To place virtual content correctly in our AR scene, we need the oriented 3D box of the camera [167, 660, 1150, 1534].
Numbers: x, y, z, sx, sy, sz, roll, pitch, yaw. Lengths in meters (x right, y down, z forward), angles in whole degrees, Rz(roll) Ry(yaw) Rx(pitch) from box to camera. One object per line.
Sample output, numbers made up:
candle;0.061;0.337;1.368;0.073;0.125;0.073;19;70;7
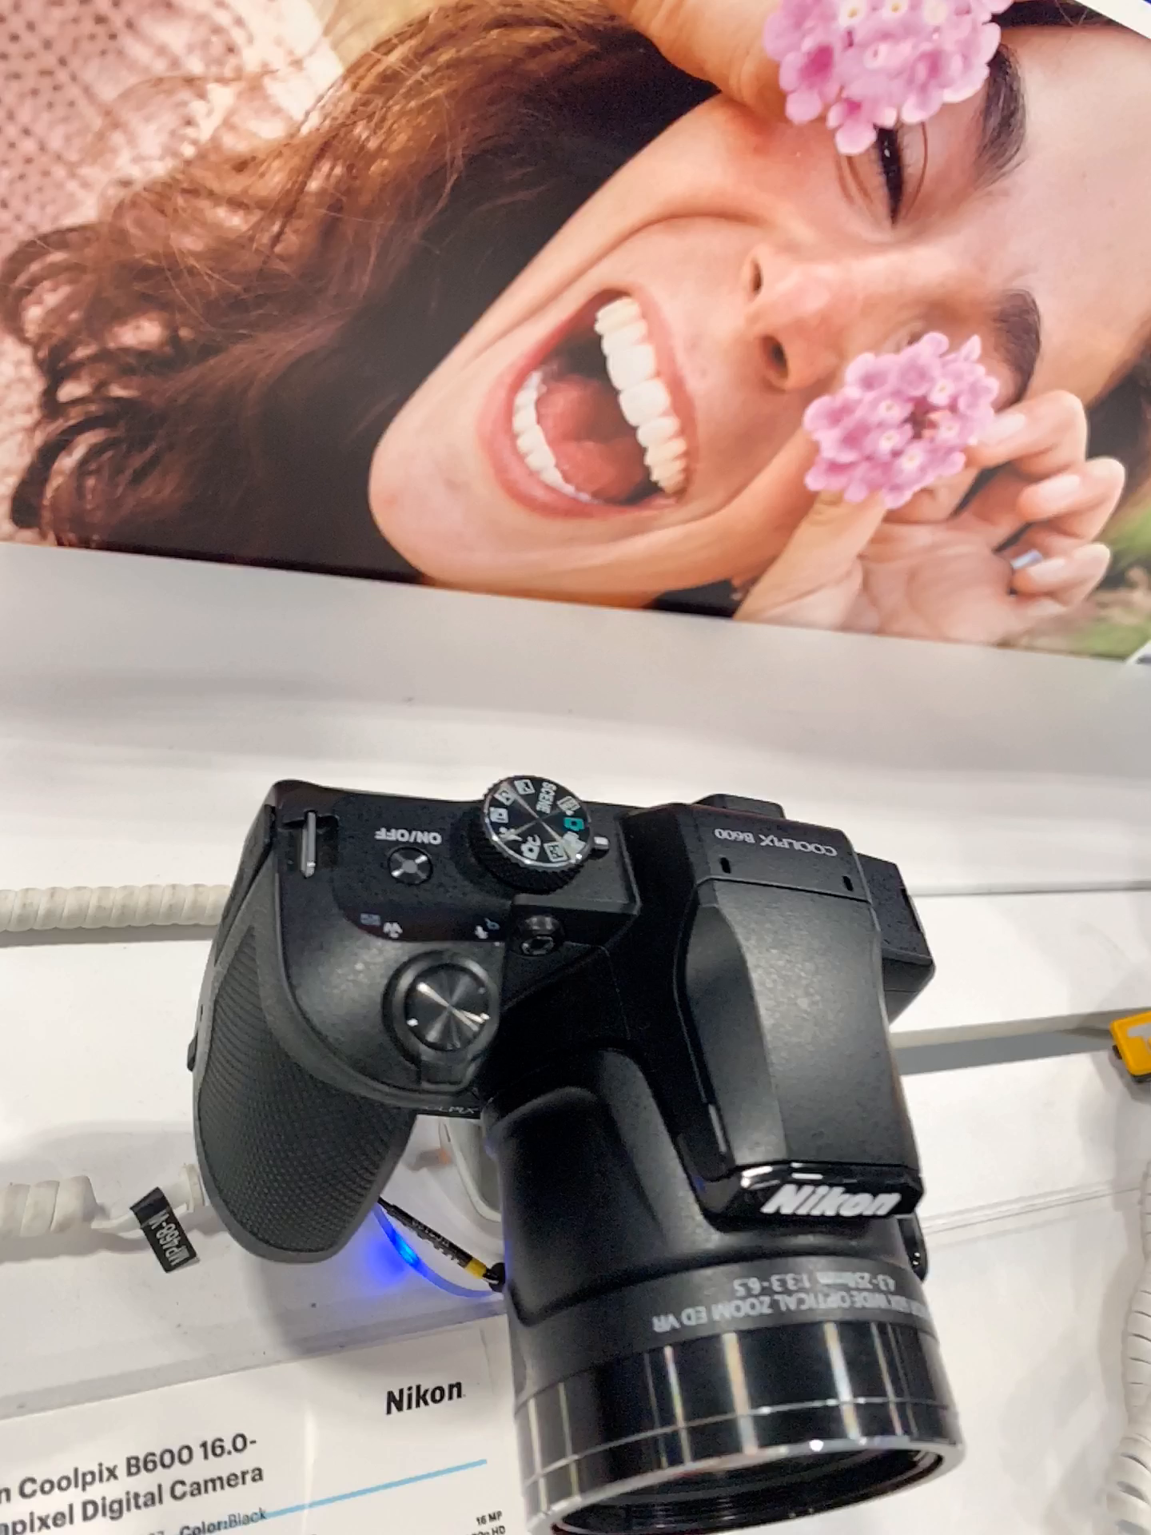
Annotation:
camera;0.006;0.055;0.190;0.120;0.080;0.100;8;45;-24
